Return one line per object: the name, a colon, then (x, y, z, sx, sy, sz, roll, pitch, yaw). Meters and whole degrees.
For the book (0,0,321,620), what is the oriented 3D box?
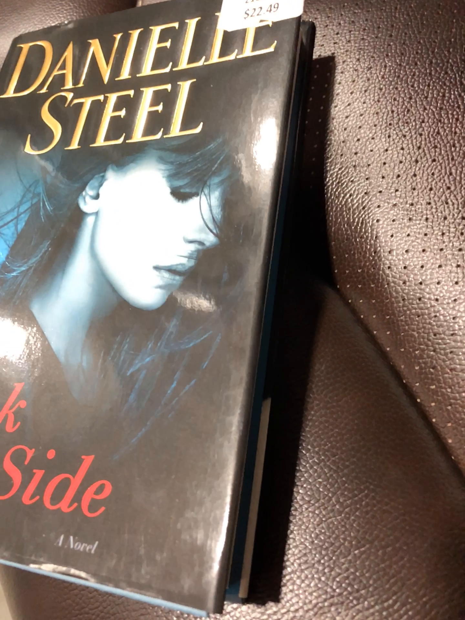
book: (-0.060, -0.027, 0.217, 0.168, 0.040, 0.237, 1, 69, 21)
